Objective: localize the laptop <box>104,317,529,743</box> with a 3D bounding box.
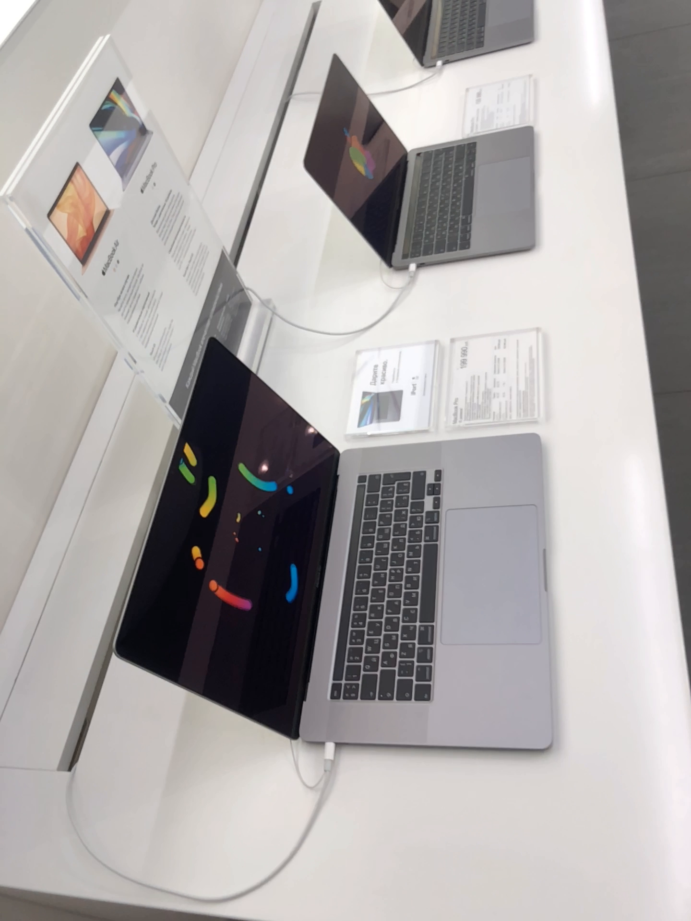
[{"bbox_3d":[0.004,0.070,0.742,0.310,0.209,0.329,-5,52,17],"label":"laptop"}]
